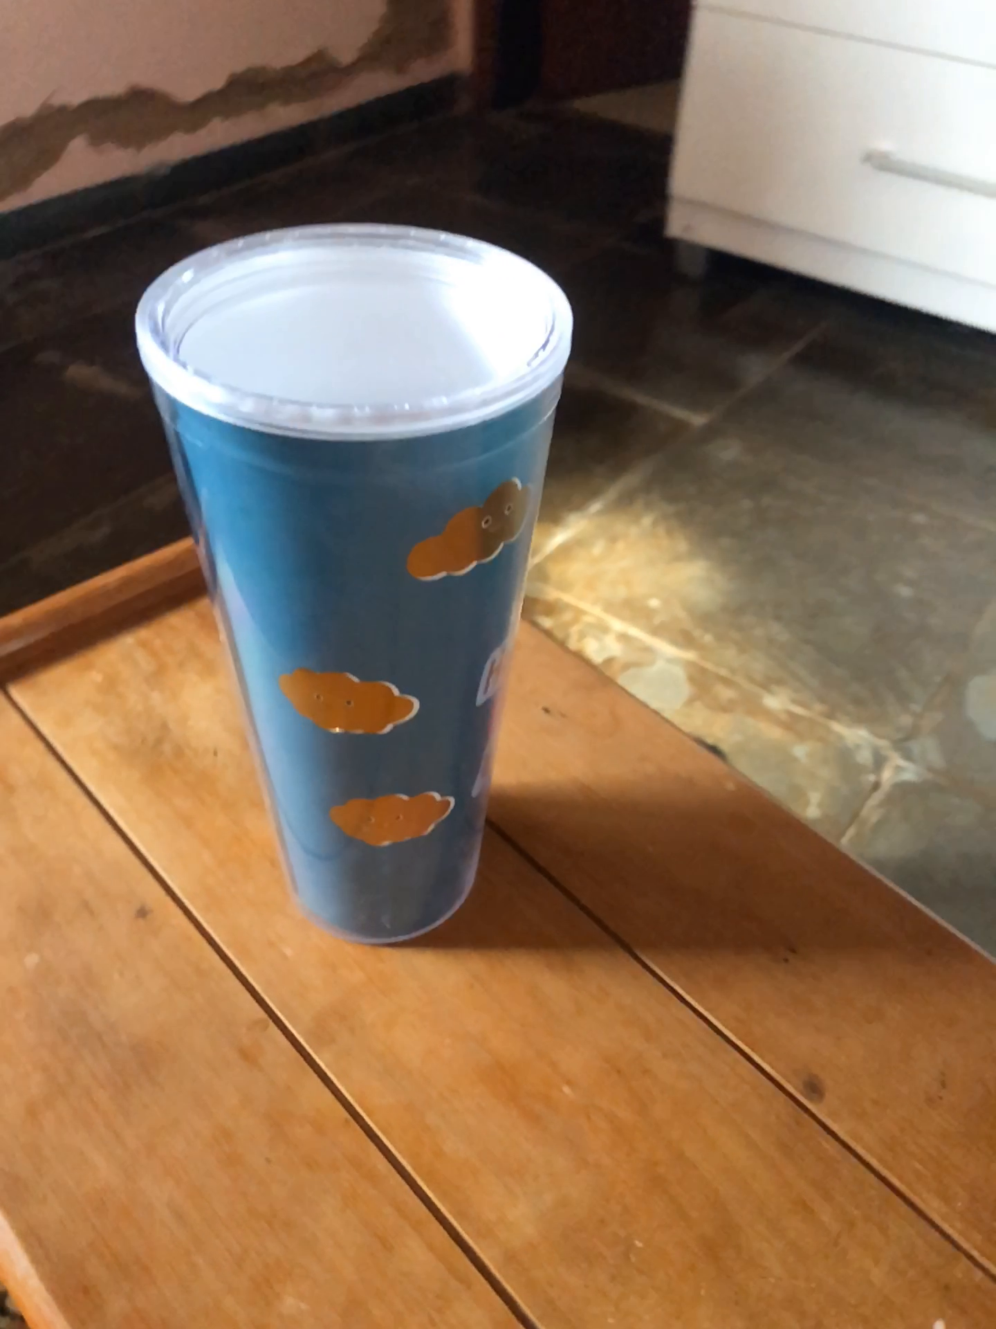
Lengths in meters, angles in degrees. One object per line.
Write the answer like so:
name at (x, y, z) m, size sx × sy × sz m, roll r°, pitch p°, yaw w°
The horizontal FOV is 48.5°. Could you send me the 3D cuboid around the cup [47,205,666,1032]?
cup at (-0.037, -0.010, 0.303) m, size 0.100 × 0.179 × 0.100 m, roll 1°, pitch 42°, yaw -1°
